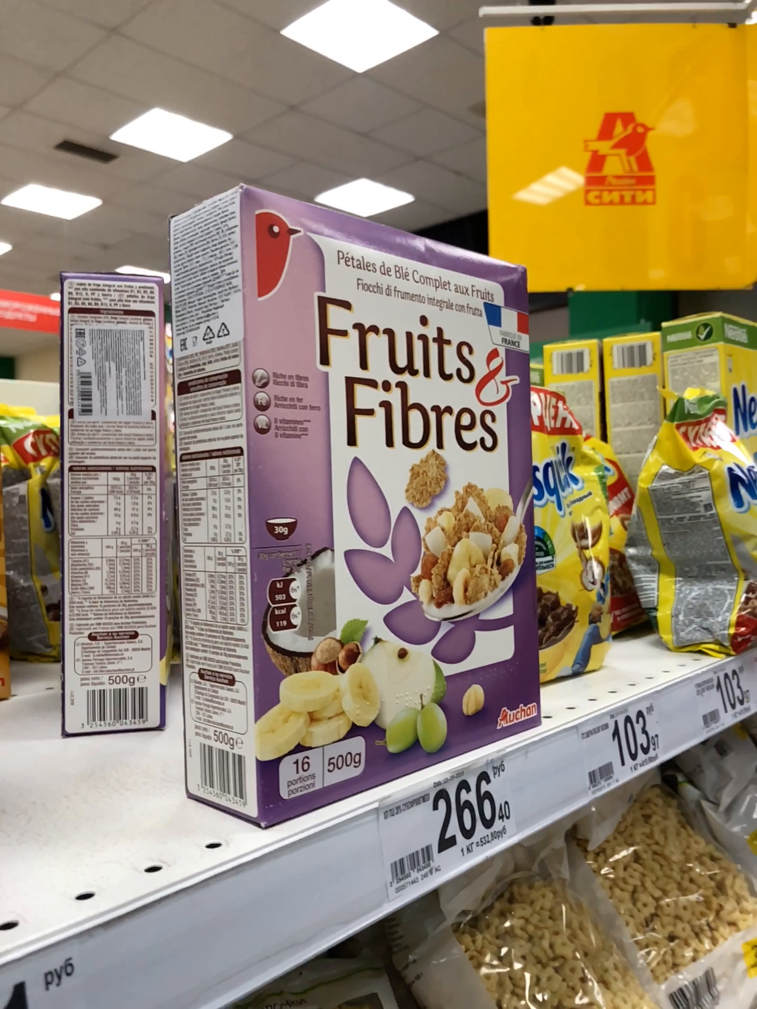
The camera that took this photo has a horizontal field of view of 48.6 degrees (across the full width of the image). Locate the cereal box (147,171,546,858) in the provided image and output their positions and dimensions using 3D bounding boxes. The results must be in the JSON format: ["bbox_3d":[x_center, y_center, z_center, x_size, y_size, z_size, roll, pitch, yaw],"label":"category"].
[{"bbox_3d":[-0.004,0.001,0.409,0.060,0.260,0.200,-3,-1,44],"label":"cereal box"}]
